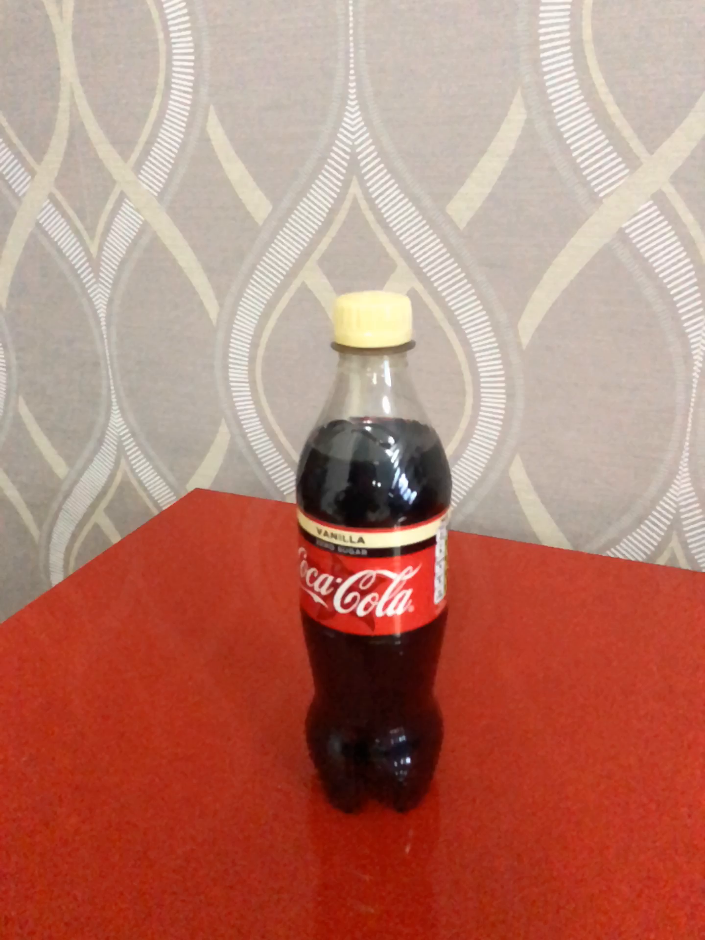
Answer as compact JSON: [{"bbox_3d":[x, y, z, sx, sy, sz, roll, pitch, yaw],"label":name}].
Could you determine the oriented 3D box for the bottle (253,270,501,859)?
[{"bbox_3d":[0.014,0.040,0.344,0.070,0.239,0.080,9,24,24],"label":"bottle"}]
